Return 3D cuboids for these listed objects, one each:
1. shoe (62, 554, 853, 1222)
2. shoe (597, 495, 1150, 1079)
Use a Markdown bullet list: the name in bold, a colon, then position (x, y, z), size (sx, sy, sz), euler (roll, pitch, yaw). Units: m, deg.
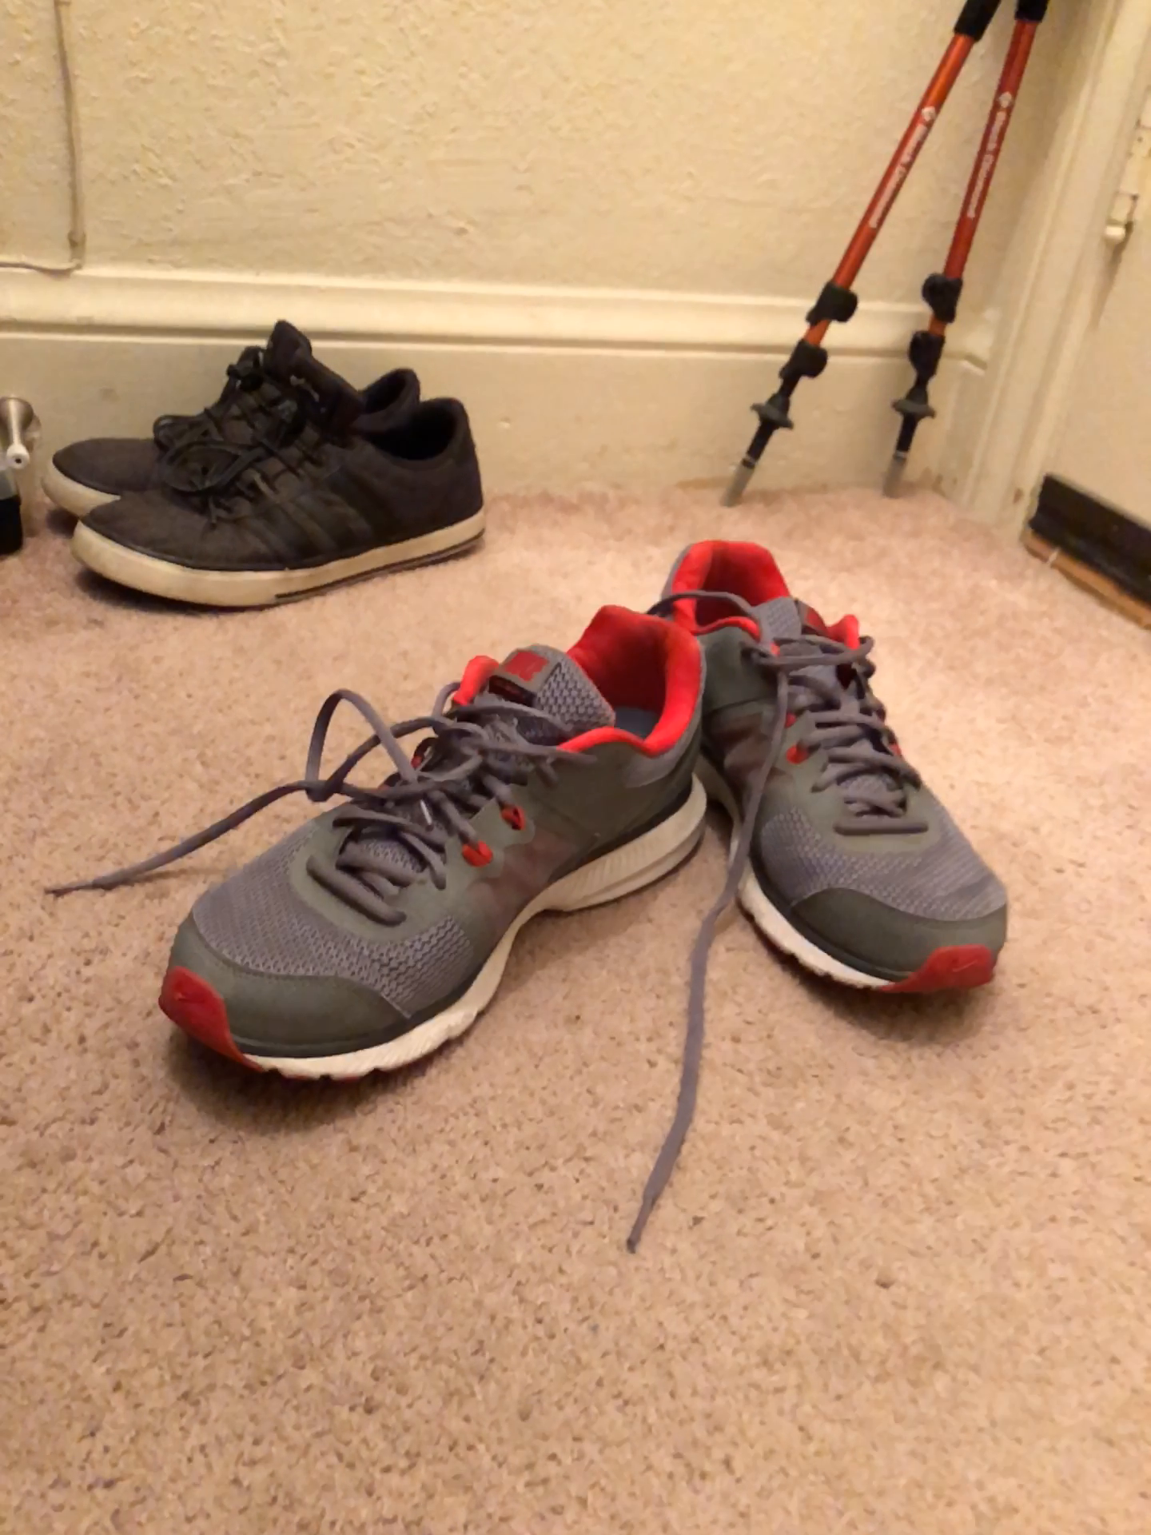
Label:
- **shoe**: position (-0.030, 0.023, 0.507), size (0.113, 0.119, 0.298), euler (31, 39, 32)
- **shoe**: position (0.114, -0.014, 0.595), size (0.113, 0.119, 0.299), euler (-3, 34, -17)
